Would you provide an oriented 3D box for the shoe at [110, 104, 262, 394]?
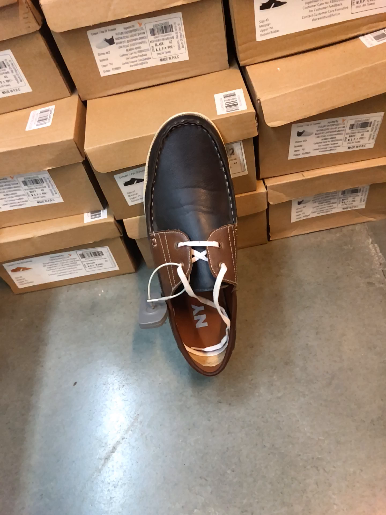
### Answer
[{"bbox_3d":[0.003,-0.008,0.435,0.102,0.264,0.099,-7,16,6],"label":"shoe"}]
